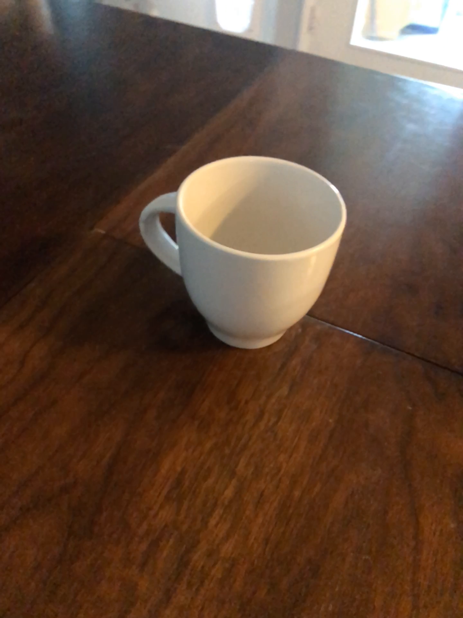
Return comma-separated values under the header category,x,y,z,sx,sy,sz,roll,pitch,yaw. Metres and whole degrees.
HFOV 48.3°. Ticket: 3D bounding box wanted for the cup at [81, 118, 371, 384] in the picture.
category,x,y,z,sx,sy,sz,roll,pitch,yaw
cup,-0.001,-0.045,0.361,0.150,0.100,0.110,20,49,14
